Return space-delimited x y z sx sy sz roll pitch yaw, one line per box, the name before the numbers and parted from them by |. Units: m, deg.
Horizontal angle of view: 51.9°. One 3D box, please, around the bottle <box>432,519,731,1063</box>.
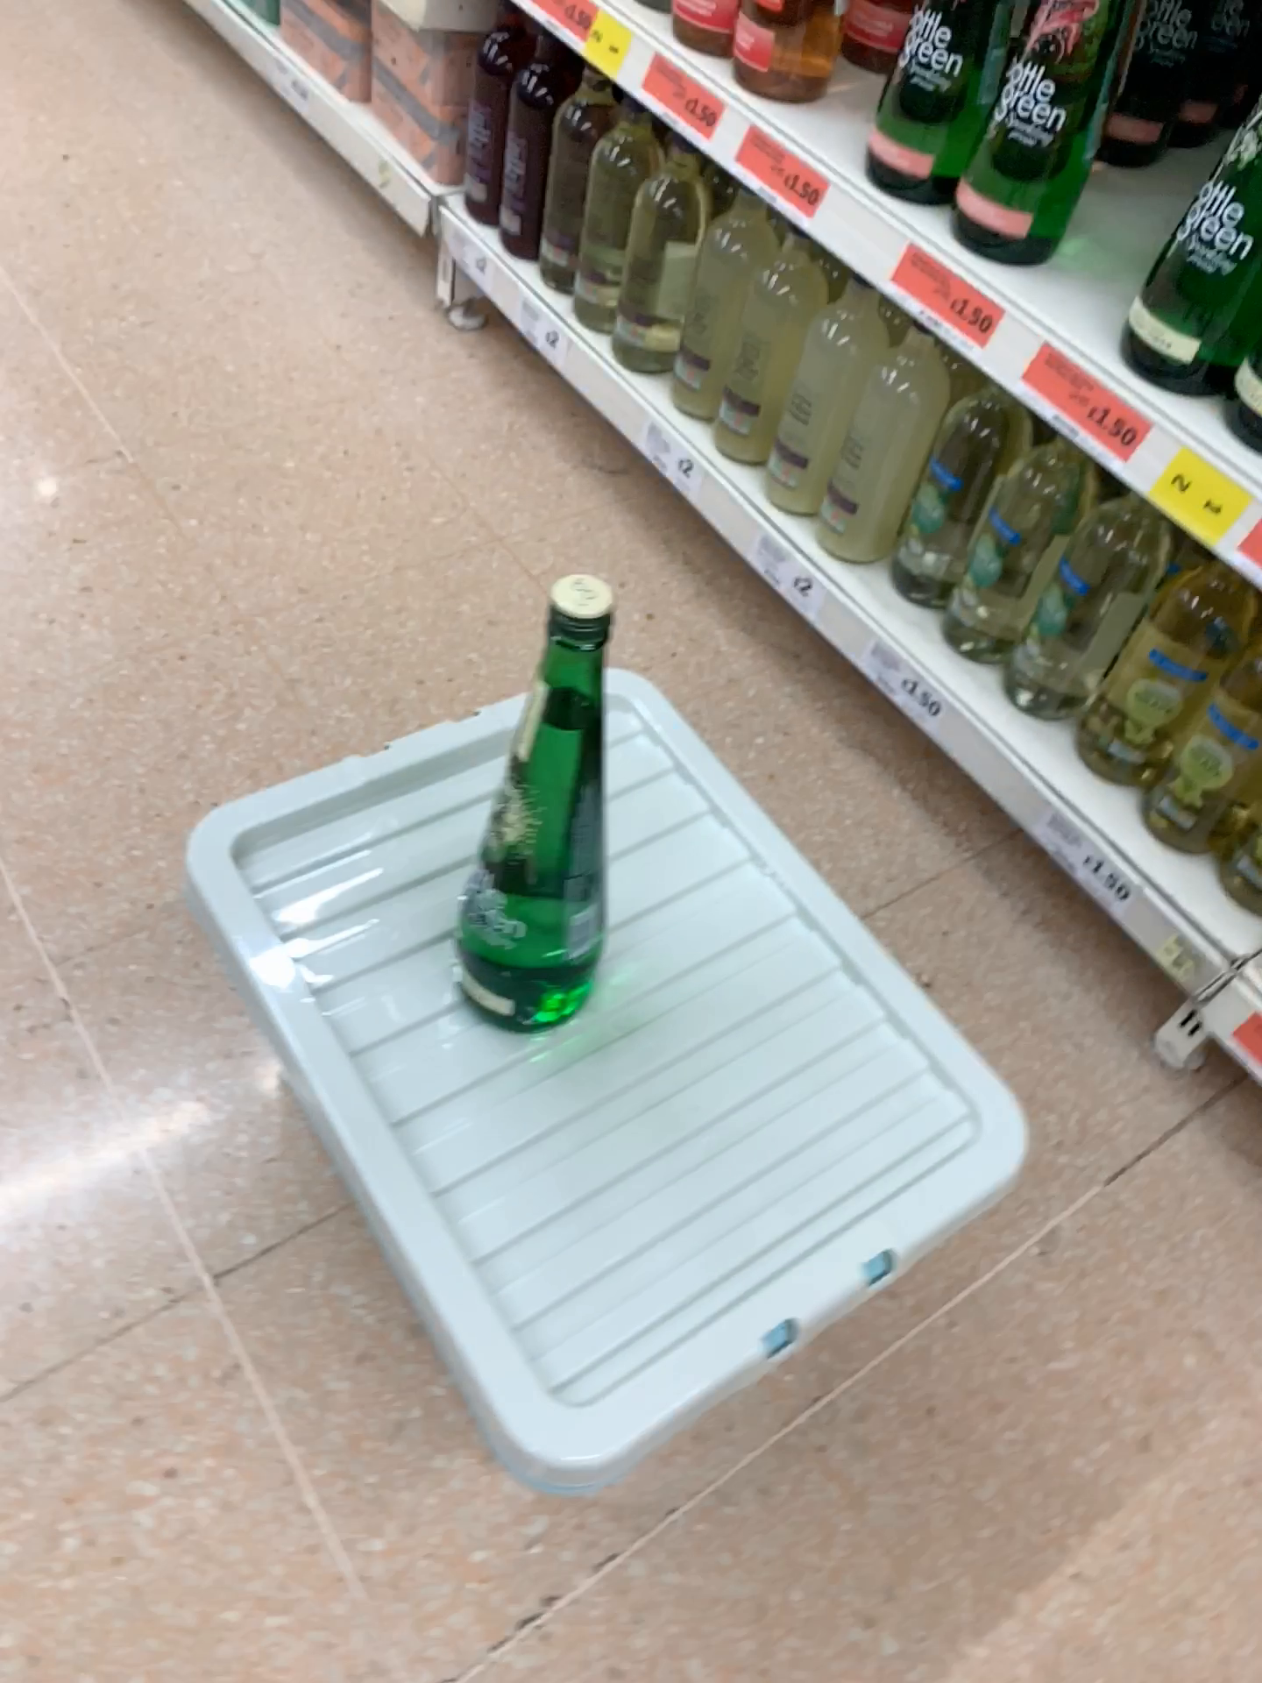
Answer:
bottle | -0.039 -0.010 0.661 0.093 0.298 0.084 -18 57 -22
